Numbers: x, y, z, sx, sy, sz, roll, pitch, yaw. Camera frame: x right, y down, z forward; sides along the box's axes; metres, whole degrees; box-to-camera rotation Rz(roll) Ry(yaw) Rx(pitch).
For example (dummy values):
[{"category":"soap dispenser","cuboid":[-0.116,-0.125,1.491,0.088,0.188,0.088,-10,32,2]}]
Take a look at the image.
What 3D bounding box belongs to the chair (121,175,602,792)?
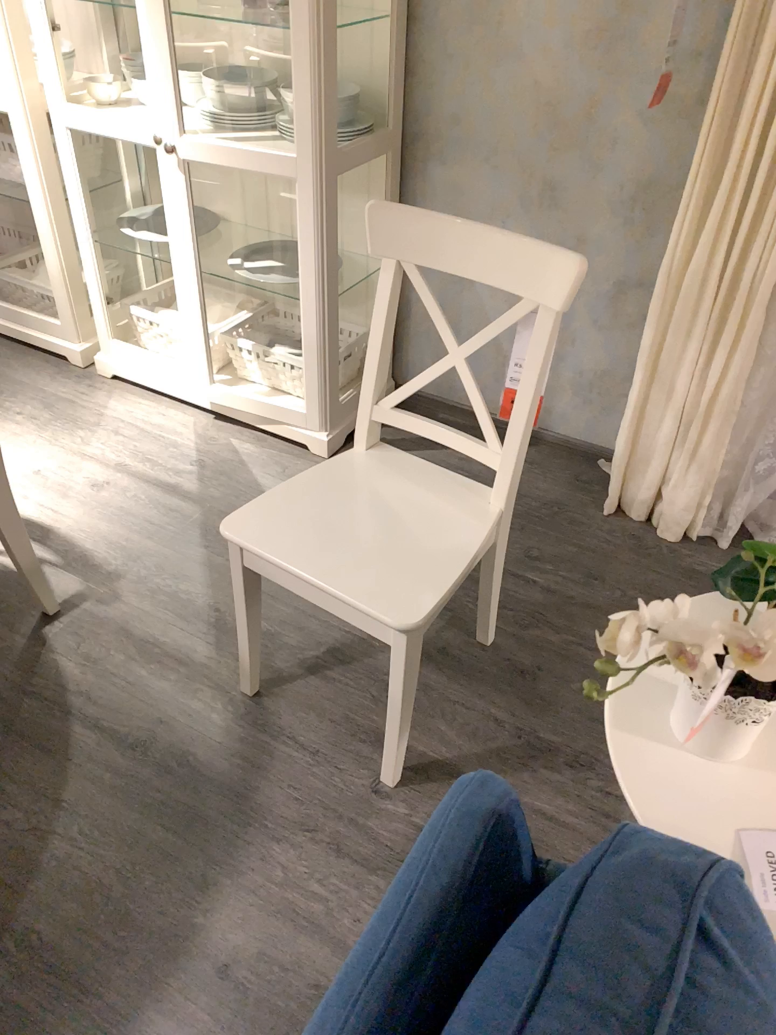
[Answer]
[{"category":"chair","cuboid":[-0.025,-0.064,1.367,0.451,0.807,0.542,24,44,24]}]
